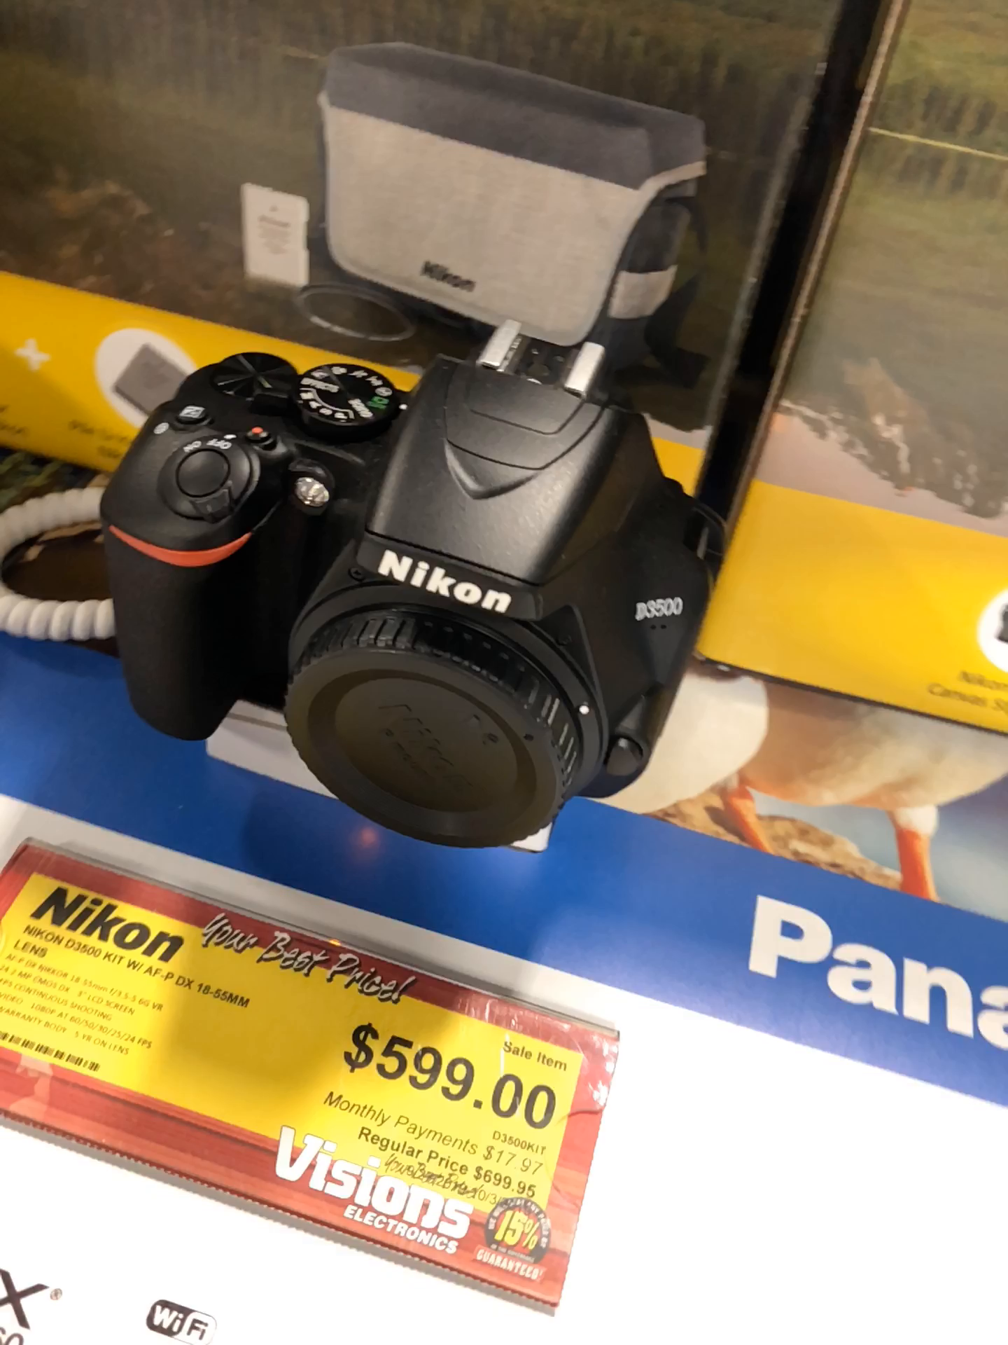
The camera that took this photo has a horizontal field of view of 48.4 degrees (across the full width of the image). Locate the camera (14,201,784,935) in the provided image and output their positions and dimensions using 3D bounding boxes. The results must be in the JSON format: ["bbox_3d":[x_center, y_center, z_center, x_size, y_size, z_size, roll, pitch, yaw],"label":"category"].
[{"bbox_3d":[-0.018,-0.023,0.240,0.120,0.099,0.080,17,46,7],"label":"camera"}]
